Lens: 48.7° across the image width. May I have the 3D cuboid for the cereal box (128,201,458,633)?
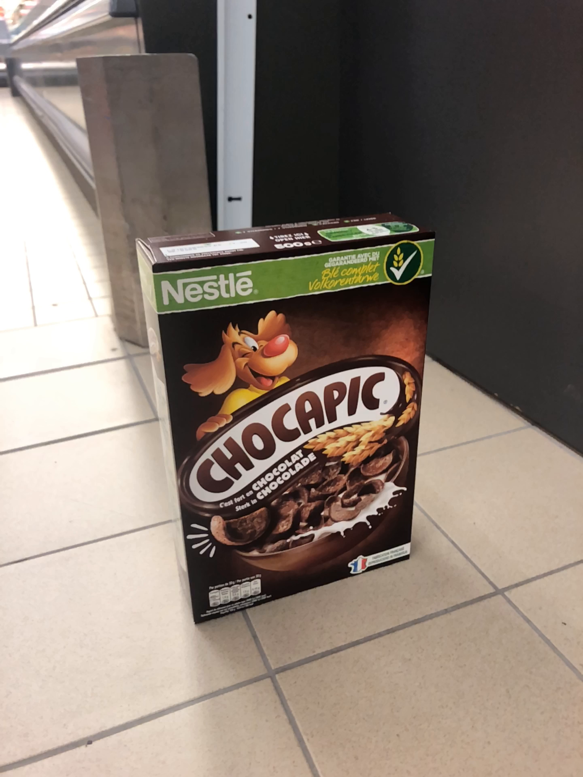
[{"bbox_3d":[0.002,0.022,0.478,0.200,0.288,0.070,-10,28,-19],"label":"cereal box"}]

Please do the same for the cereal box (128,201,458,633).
[{"bbox_3d":[0.002,0.022,0.478,0.200,0.288,0.070,-10,28,-19],"label":"cereal box"}]
